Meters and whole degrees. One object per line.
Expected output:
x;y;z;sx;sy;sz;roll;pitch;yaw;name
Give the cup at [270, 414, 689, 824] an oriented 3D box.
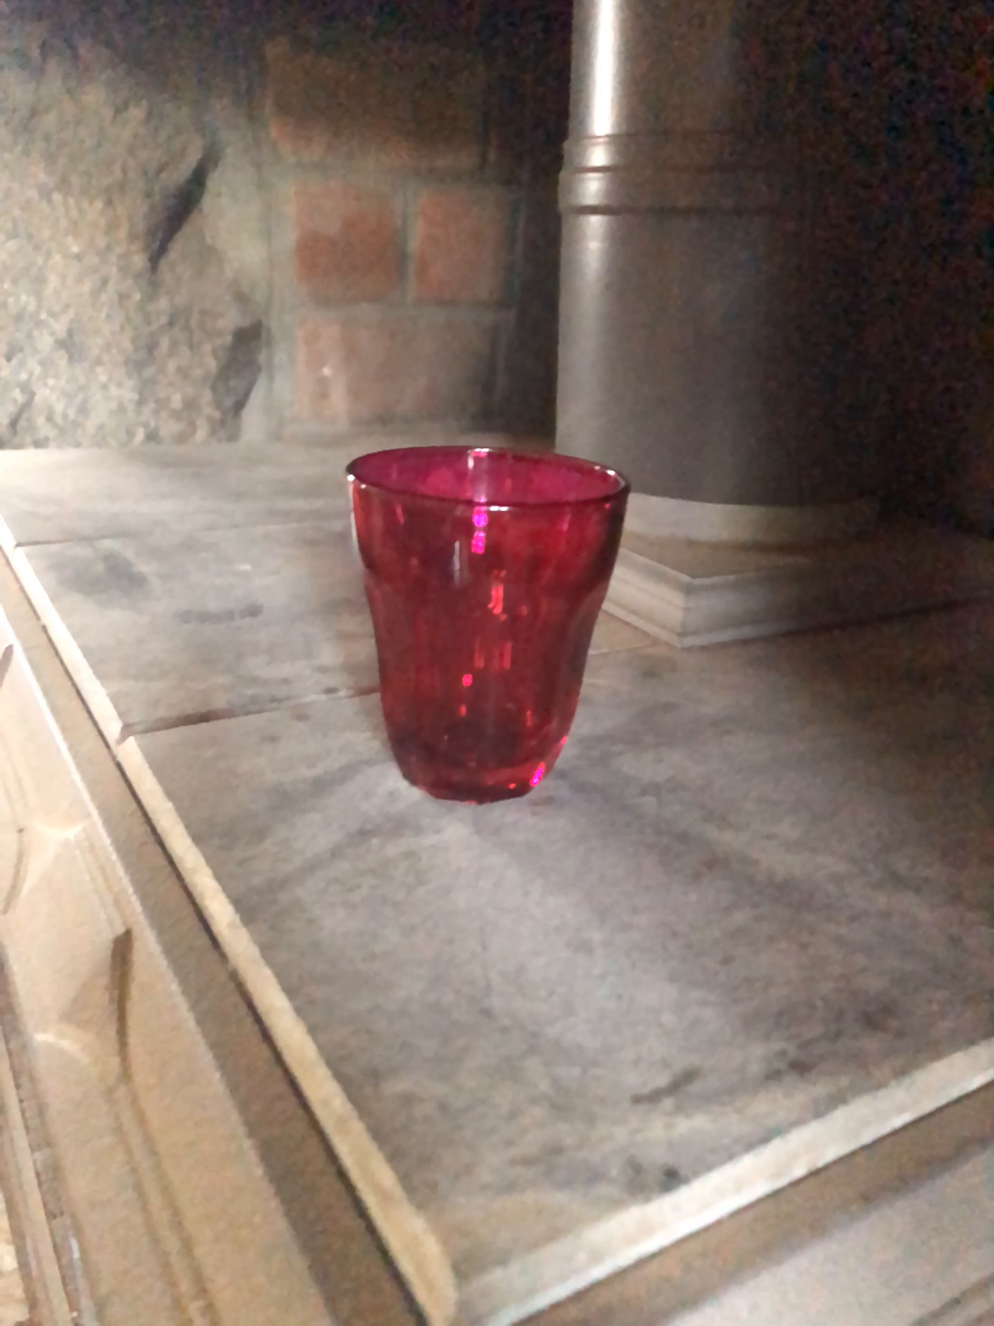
-0.006;-0.018;0.291;0.080;0.080;0.070;-16;27;-40;cup
